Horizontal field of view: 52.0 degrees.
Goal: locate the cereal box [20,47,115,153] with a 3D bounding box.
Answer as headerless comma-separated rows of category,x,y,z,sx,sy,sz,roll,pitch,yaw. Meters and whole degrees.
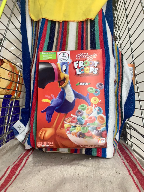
cereal box,-0.011,0.009,0.380,0.210,0.060,0.250,-1,78,4
